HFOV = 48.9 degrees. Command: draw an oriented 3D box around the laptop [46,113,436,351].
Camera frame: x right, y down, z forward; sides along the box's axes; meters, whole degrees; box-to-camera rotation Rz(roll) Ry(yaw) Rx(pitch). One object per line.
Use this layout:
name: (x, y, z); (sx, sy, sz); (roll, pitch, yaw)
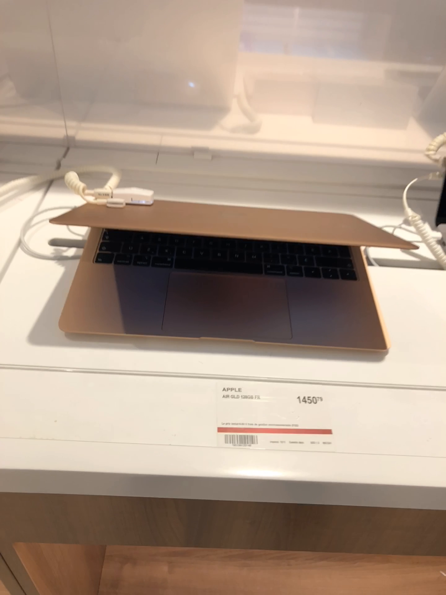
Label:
laptop: (0.005, -0.079, 0.493); (0.298, 0.104, 0.226); (4, 41, 0)
